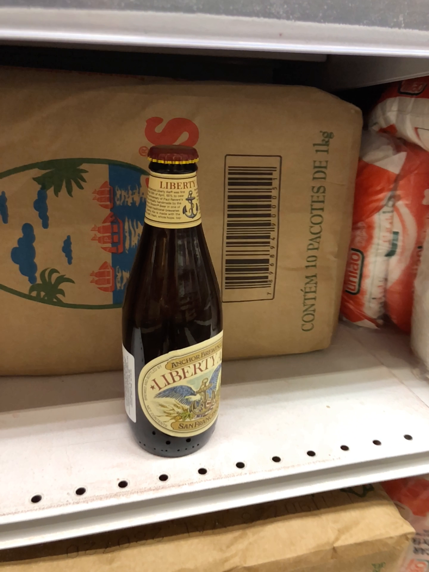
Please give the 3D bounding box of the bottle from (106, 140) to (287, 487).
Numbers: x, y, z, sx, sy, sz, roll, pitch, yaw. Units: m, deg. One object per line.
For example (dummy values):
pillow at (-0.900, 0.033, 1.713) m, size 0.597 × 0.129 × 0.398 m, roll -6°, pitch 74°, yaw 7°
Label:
bottle at (-0.014, 0.013, 0.294) m, size 0.070 × 0.189 × 0.070 m, roll 2°, pitch 22°, yaw -1°
